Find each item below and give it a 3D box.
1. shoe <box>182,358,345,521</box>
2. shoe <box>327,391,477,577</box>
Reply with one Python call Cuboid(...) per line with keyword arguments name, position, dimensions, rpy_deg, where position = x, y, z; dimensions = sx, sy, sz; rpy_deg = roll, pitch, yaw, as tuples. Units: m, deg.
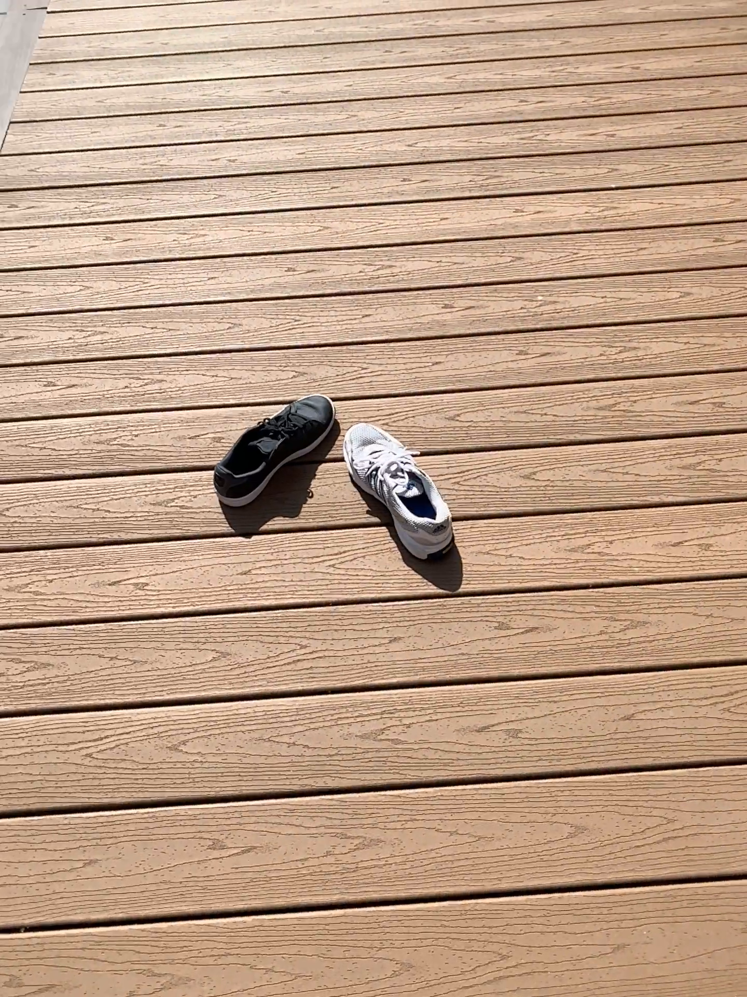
Cuboid(name="shoe", position=(-0.179, -0.103, 1.294), dimensions=(0.110, 0.100, 0.260), rpy_deg=(36, 65, 22))
Cuboid(name="shoe", position=(0.042, -0.027, 1.253), dimensions=(0.110, 0.120, 0.271), rpy_deg=(-27, 60, -15))
